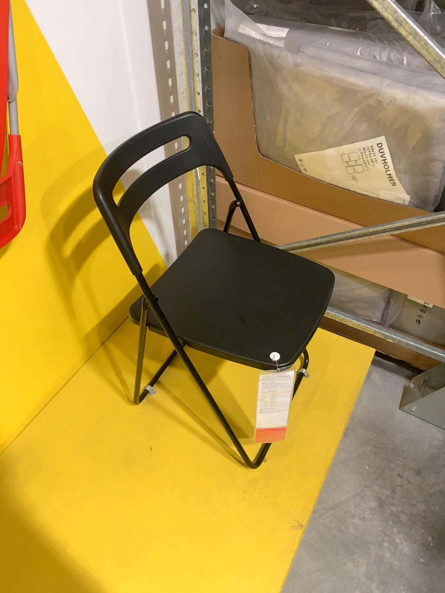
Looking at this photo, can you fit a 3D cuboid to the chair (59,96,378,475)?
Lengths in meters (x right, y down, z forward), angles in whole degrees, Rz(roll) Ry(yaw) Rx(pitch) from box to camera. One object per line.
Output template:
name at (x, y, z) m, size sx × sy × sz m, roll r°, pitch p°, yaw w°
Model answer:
chair at (0.021, -0.013, 1.094) m, size 0.440 × 0.697 × 0.441 m, roll 20°, pitch 49°, yaw 20°
